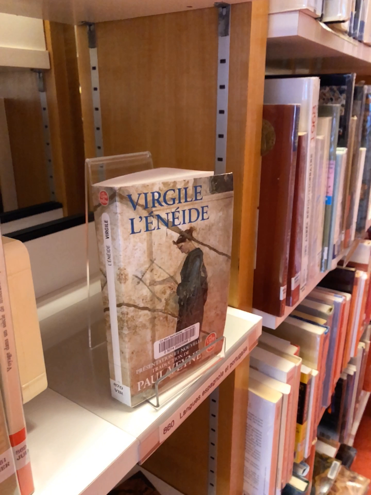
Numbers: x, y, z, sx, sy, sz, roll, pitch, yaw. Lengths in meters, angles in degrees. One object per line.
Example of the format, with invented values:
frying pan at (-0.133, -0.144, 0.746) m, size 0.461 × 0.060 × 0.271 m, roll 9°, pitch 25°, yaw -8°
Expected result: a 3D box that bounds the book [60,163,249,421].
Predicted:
book at (-0.018, 0.024, 0.345) m, size 0.073 × 0.168 × 0.132 m, roll 16°, pitch 24°, yaw 41°
